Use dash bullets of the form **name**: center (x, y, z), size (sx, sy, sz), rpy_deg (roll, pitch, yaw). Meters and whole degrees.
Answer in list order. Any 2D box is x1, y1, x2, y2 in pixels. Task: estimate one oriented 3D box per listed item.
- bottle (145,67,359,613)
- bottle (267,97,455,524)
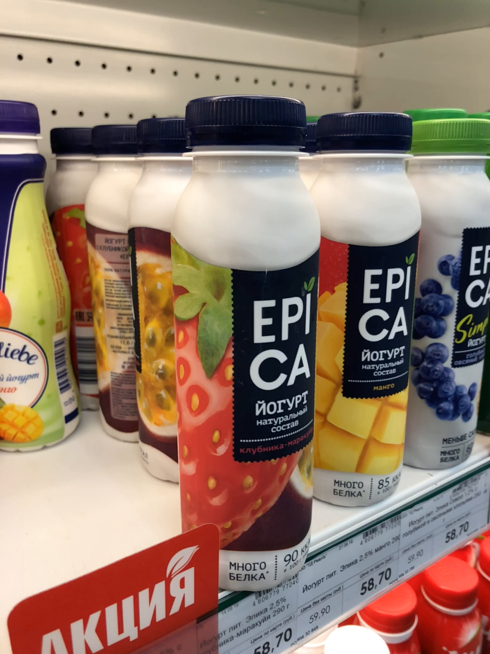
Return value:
- **bottle**: center (0.000, 0.006, 0.205), size (0.050, 0.180, 0.050), rpy_deg (1, 17, 0)
- **bottle**: center (0.047, -0.007, 0.252), size (0.053, 0.177, 0.051), rpy_deg (1, 17, 0)
